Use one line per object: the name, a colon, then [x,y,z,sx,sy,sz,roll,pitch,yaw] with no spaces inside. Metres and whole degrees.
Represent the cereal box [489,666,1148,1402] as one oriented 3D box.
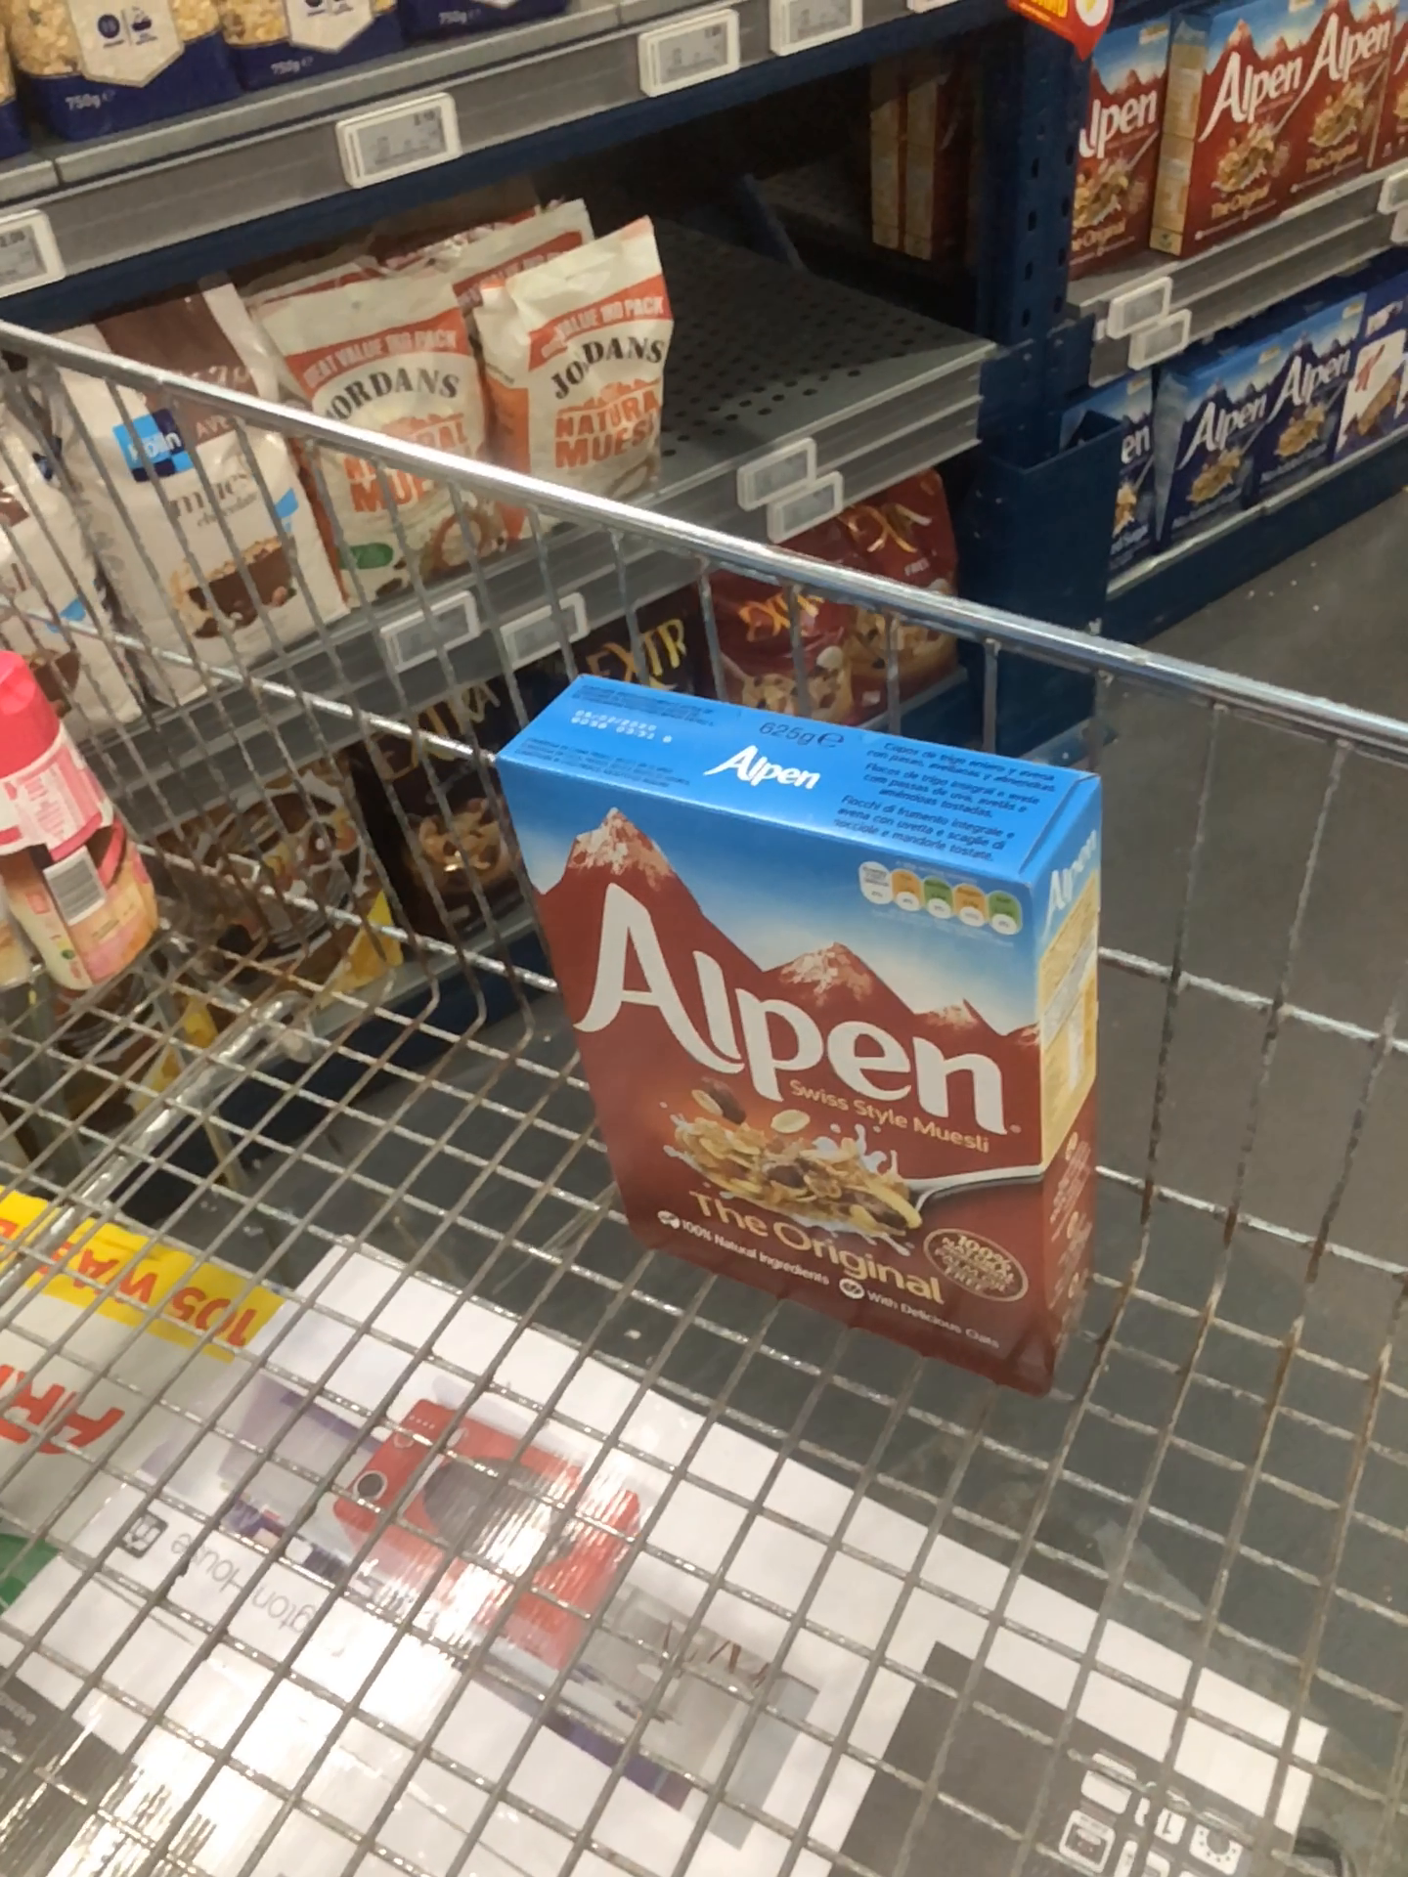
cereal box: [0.042,0.035,0.516,0.180,0.219,0.060,16,47,26]
